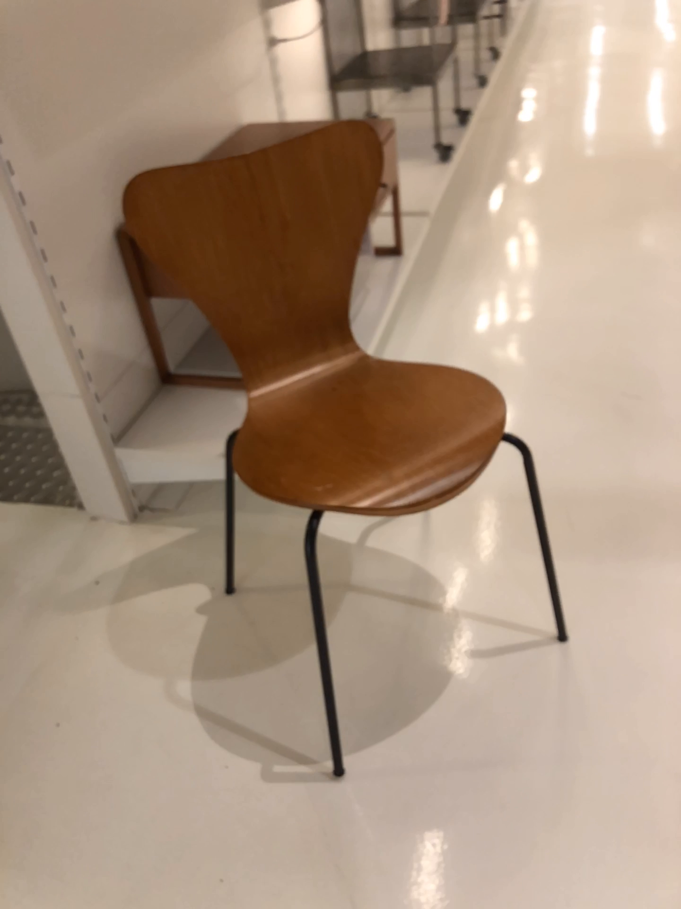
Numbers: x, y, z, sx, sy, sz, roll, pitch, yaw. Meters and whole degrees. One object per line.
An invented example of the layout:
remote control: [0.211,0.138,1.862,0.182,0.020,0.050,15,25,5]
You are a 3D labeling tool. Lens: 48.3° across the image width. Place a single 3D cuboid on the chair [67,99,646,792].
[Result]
chair: [0.024,-0.043,1.218,0.541,0.794,0.574,-24,39,-19]
